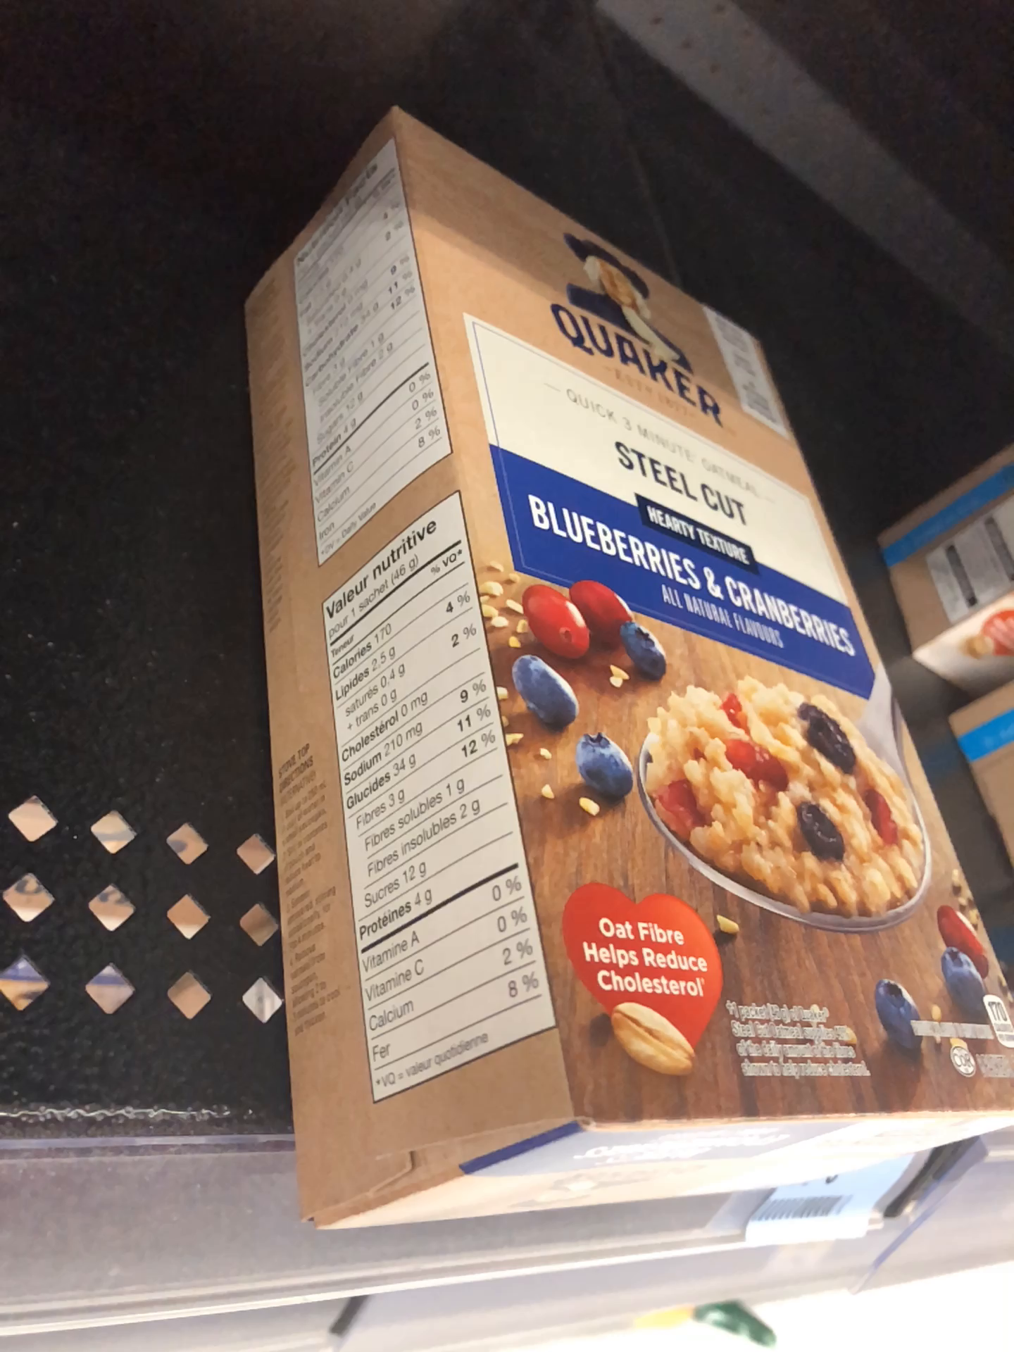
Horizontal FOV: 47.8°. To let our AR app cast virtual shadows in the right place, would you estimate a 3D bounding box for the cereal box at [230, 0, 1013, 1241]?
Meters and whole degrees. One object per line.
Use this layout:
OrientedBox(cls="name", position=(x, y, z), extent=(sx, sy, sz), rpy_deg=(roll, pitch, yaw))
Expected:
OrientedBox(cls="cereal box", position=(0.019, -0.021, 0.247), extent=(0.131, 0.060, 0.240), rpy_deg=(16, 50, -39))
